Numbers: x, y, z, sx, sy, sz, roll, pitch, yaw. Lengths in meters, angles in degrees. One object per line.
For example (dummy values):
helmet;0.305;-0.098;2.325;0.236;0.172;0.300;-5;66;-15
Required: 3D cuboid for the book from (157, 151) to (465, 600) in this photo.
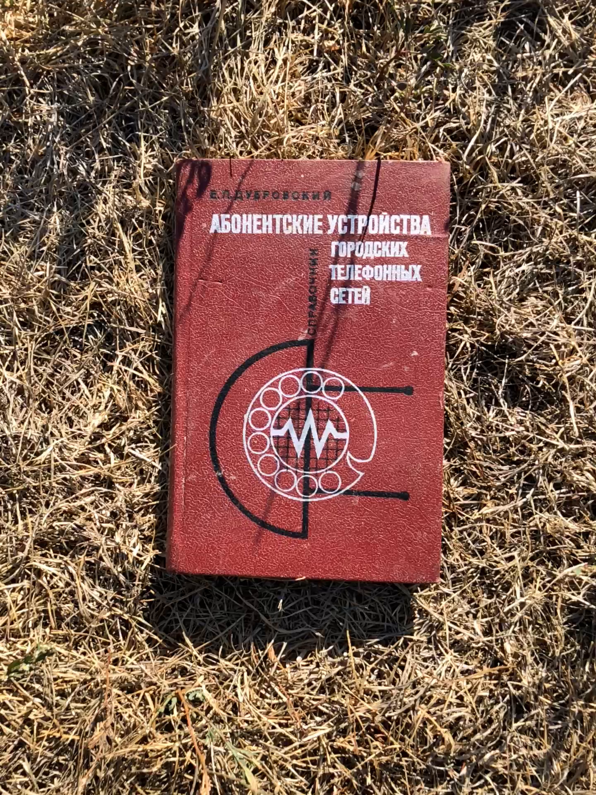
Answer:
book;0.006;-0.011;0.332;0.141;0.030;0.211;2;91;1
